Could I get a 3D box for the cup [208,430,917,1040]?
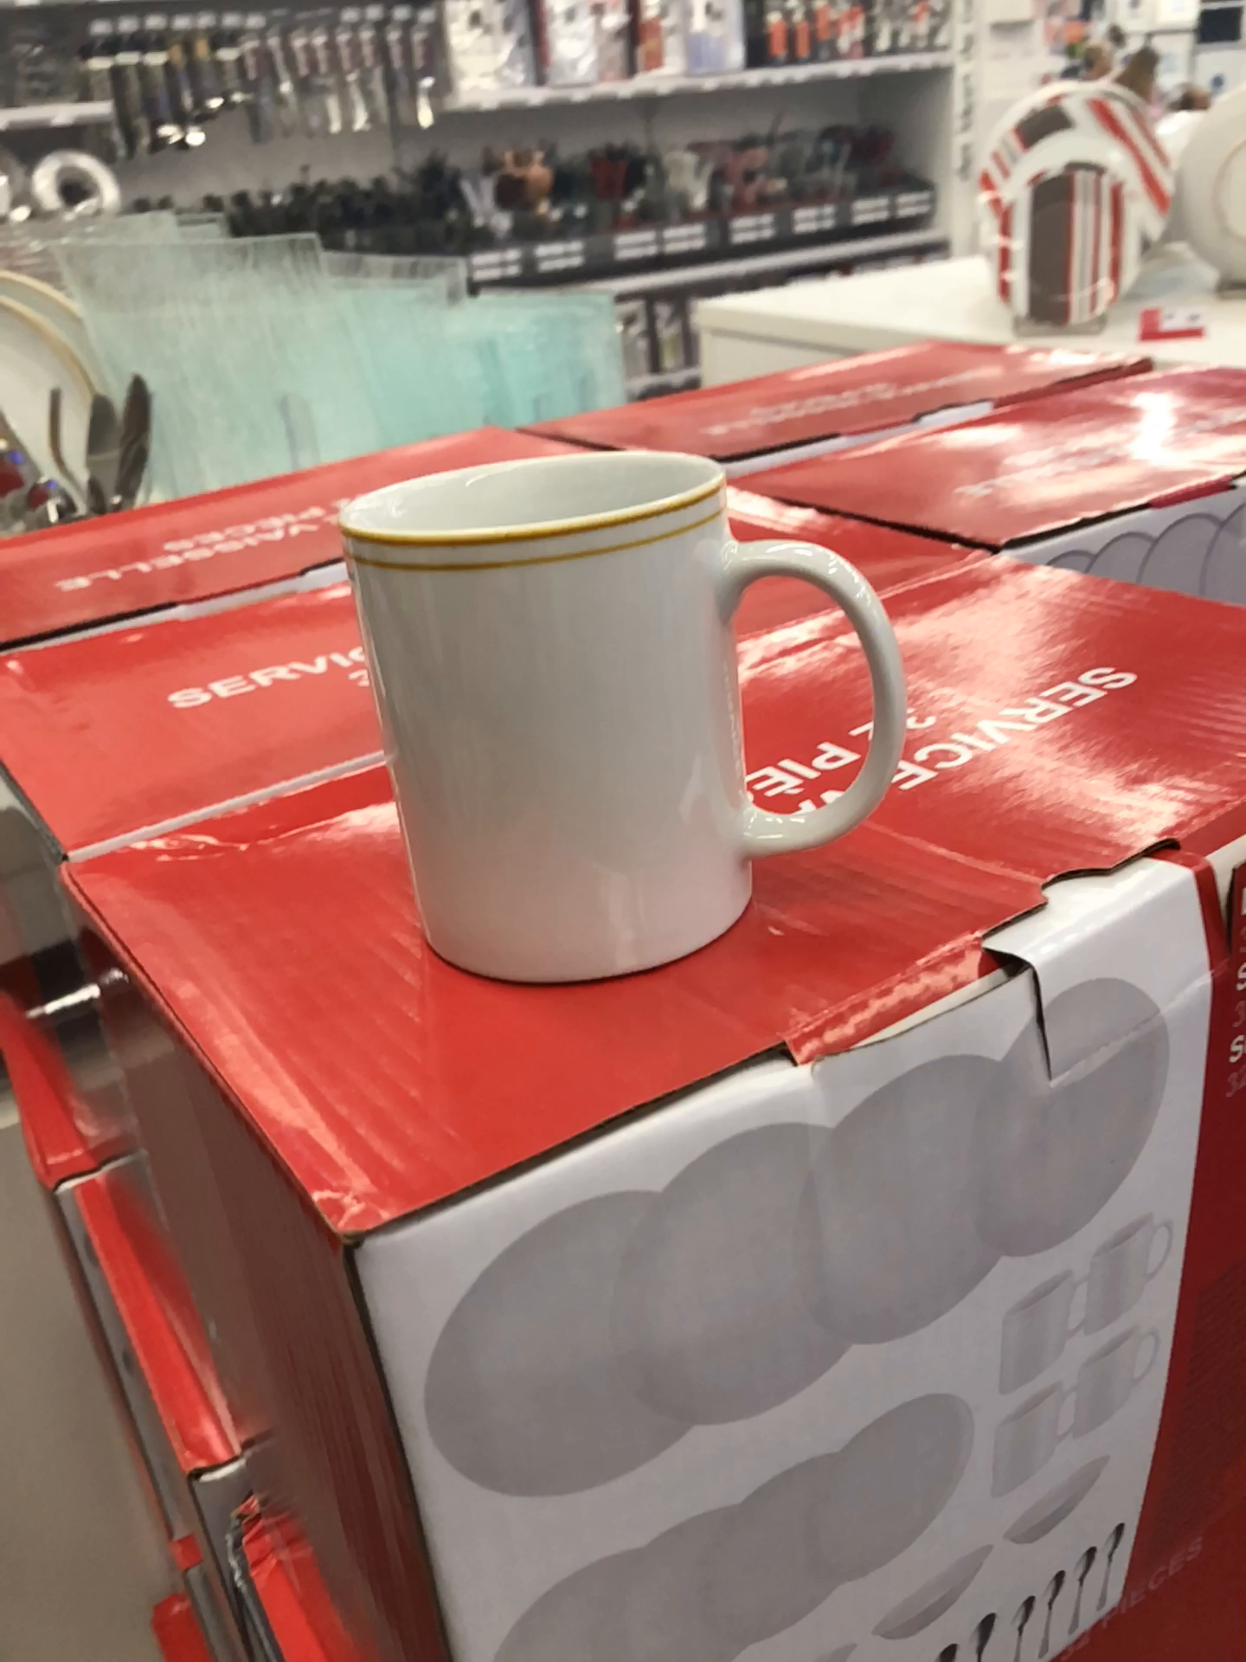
[{"bbox_3d":[-0.002,-0.028,0.289,0.115,0.091,0.097,4,26,15],"label":"cup"}]
